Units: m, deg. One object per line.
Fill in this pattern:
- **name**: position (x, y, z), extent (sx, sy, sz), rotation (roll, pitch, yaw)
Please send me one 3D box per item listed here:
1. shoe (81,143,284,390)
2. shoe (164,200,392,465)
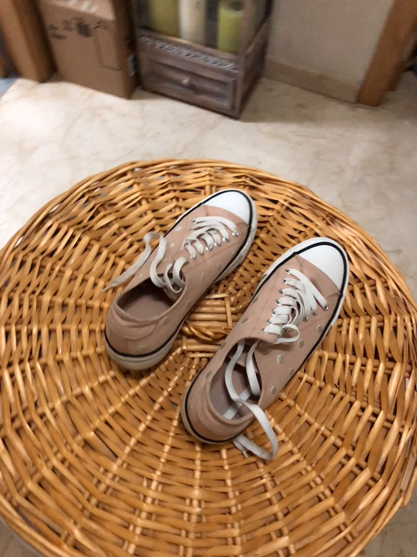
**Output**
- **shoe**: position (-0.017, -0.022, 0.488), extent (0.087, 0.085, 0.247), rotation (26, 60, 12)
- **shoe**: position (0.071, 0.052, 0.468), extent (0.093, 0.095, 0.246), rotation (37, 66, 4)
